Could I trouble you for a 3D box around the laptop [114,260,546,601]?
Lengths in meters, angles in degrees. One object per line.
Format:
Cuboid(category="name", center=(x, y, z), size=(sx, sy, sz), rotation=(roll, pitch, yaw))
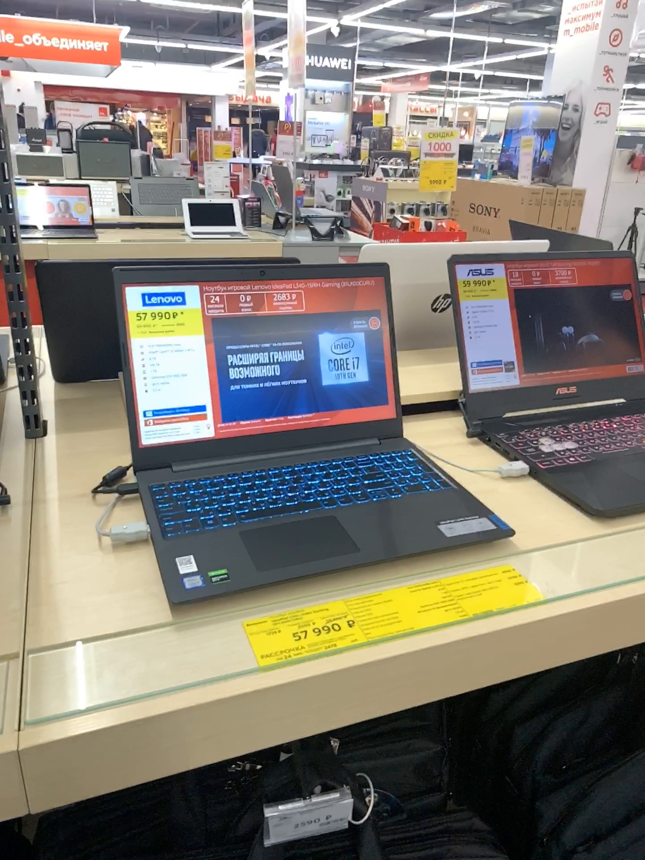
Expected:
Cuboid(category="laptop", center=(-0.024, -0.043, 0.742), size=(0.357, 0.223, 0.348), rotation=(-7, 26, -21))
